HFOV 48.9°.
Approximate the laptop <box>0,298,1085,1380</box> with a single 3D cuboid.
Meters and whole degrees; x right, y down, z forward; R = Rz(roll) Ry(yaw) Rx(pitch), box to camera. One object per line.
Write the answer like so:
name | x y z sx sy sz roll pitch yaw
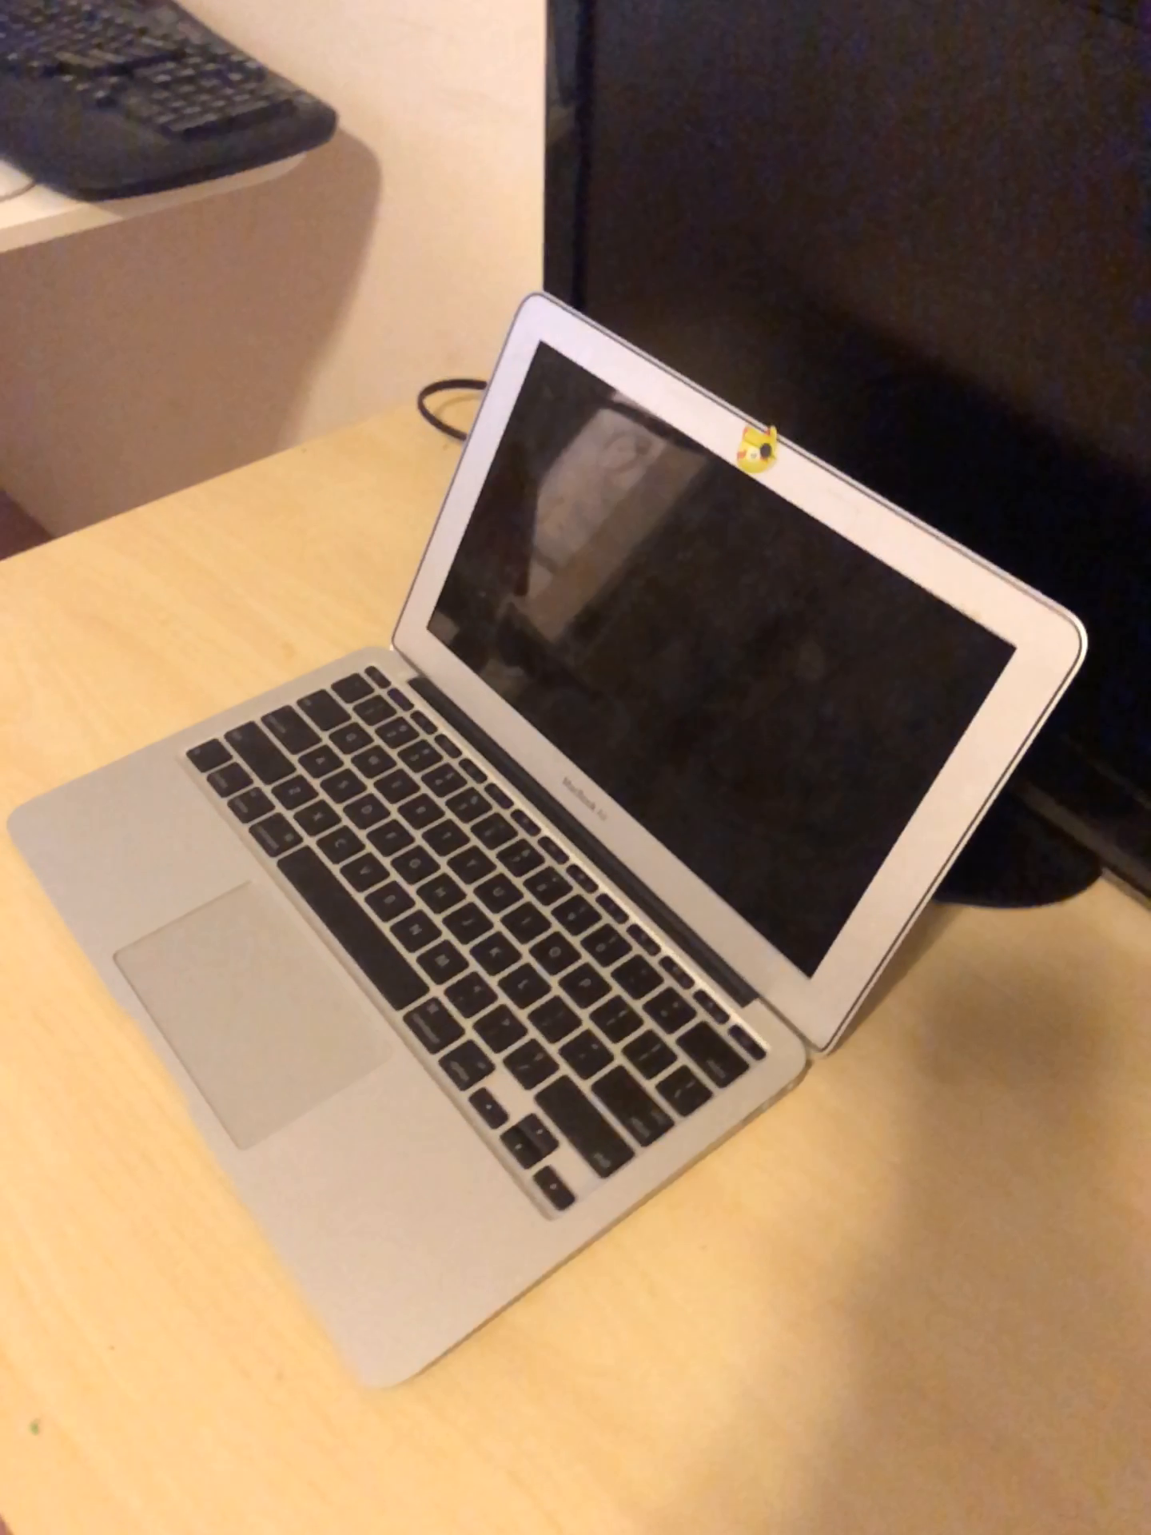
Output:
laptop | -0.041 -0.009 0.472 0.275 0.160 0.291 -28 53 -28
